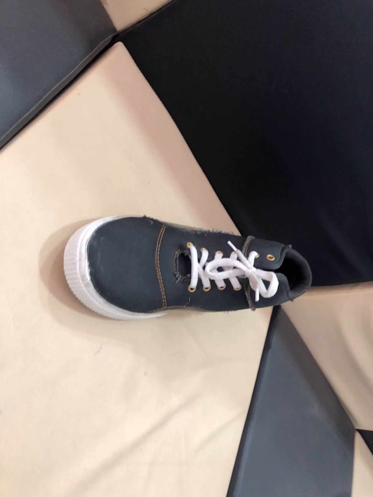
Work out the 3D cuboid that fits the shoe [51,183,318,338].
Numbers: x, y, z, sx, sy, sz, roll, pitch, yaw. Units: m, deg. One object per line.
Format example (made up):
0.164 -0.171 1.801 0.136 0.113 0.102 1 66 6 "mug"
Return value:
0.025 0.021 0.425 0.302 0.109 0.100 5 77 -54 "shoe"
